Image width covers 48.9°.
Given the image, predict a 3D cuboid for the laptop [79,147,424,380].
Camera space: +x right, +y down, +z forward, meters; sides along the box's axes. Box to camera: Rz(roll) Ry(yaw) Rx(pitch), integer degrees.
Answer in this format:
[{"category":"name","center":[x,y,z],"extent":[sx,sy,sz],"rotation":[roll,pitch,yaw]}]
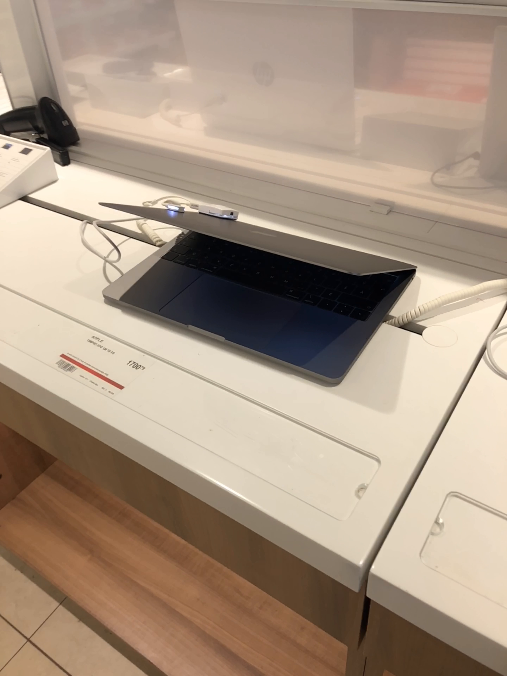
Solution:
[{"category":"laptop","center":[0.000,-0.104,0.618],"extent":[0.304,0.104,0.201],"rotation":[19,45,26]}]
